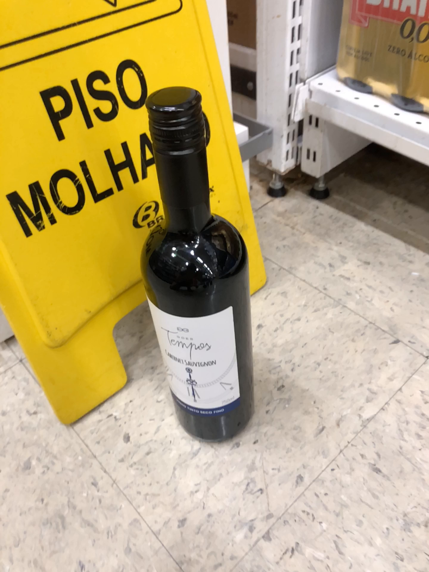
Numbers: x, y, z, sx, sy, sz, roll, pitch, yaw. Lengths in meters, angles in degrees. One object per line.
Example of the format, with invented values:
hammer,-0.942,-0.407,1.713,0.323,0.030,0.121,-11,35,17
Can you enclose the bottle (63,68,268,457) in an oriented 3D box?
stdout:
bottle,-0.010,0.011,0.333,0.080,0.288,0.070,10,47,16
